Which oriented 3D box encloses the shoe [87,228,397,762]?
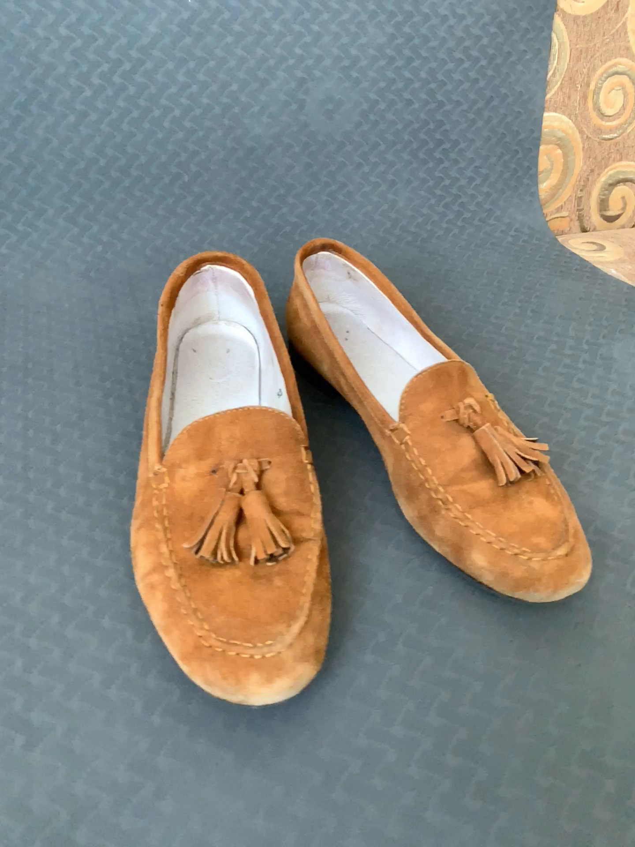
[{"bbox_3d":[-0.044,0.011,0.300,0.090,0.090,0.231,-4,47,-10],"label":"shoe"}]

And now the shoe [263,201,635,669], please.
[{"bbox_3d":[0.062,-0.014,0.347,0.090,0.090,0.241,-17,50,-22],"label":"shoe"}]
